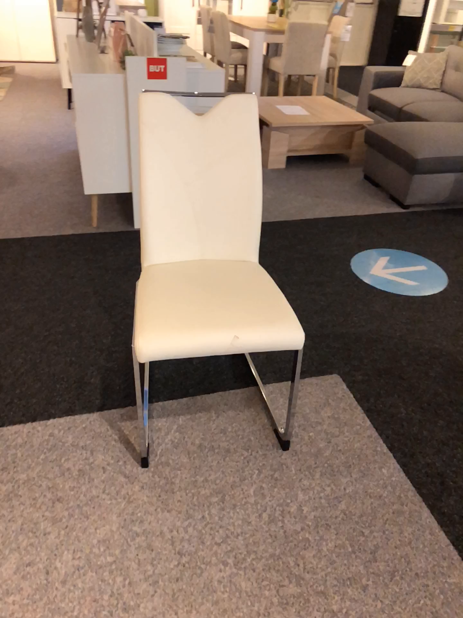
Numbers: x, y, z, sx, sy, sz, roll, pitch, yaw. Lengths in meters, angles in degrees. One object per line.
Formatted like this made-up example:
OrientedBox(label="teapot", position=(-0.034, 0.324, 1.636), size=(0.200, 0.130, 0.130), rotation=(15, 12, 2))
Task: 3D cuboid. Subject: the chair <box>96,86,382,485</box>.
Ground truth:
OrientedBox(label="chair", position=(-0.063, -0.091, 1.477), size=(0.561, 0.914, 0.633), rotation=(-5, 34, -13))
